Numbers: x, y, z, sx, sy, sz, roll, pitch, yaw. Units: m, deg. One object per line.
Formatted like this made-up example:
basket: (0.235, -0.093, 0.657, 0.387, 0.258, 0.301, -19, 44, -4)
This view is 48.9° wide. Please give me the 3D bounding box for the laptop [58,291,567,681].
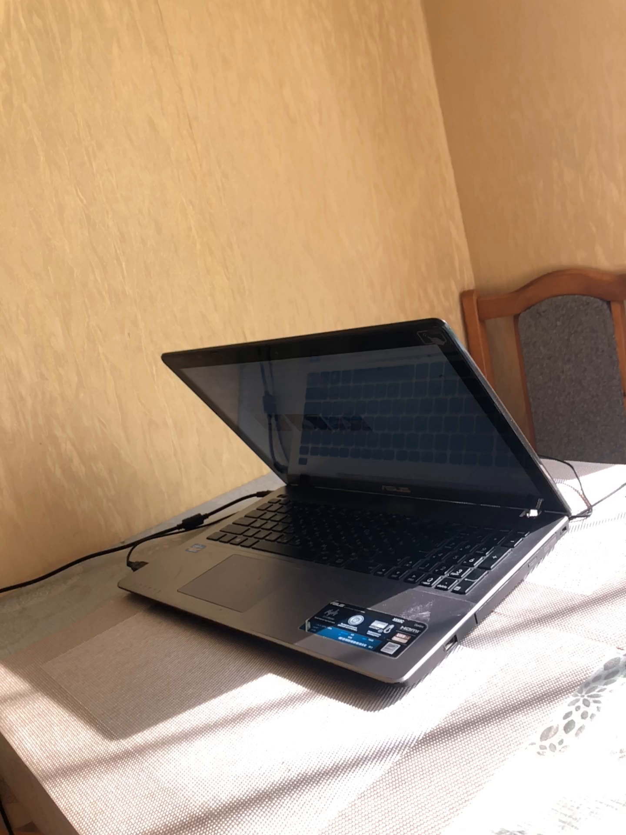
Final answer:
laptop: (-0.014, 0.033, 0.631, 0.243, 0.197, 0.369, -25, 17, -40)
